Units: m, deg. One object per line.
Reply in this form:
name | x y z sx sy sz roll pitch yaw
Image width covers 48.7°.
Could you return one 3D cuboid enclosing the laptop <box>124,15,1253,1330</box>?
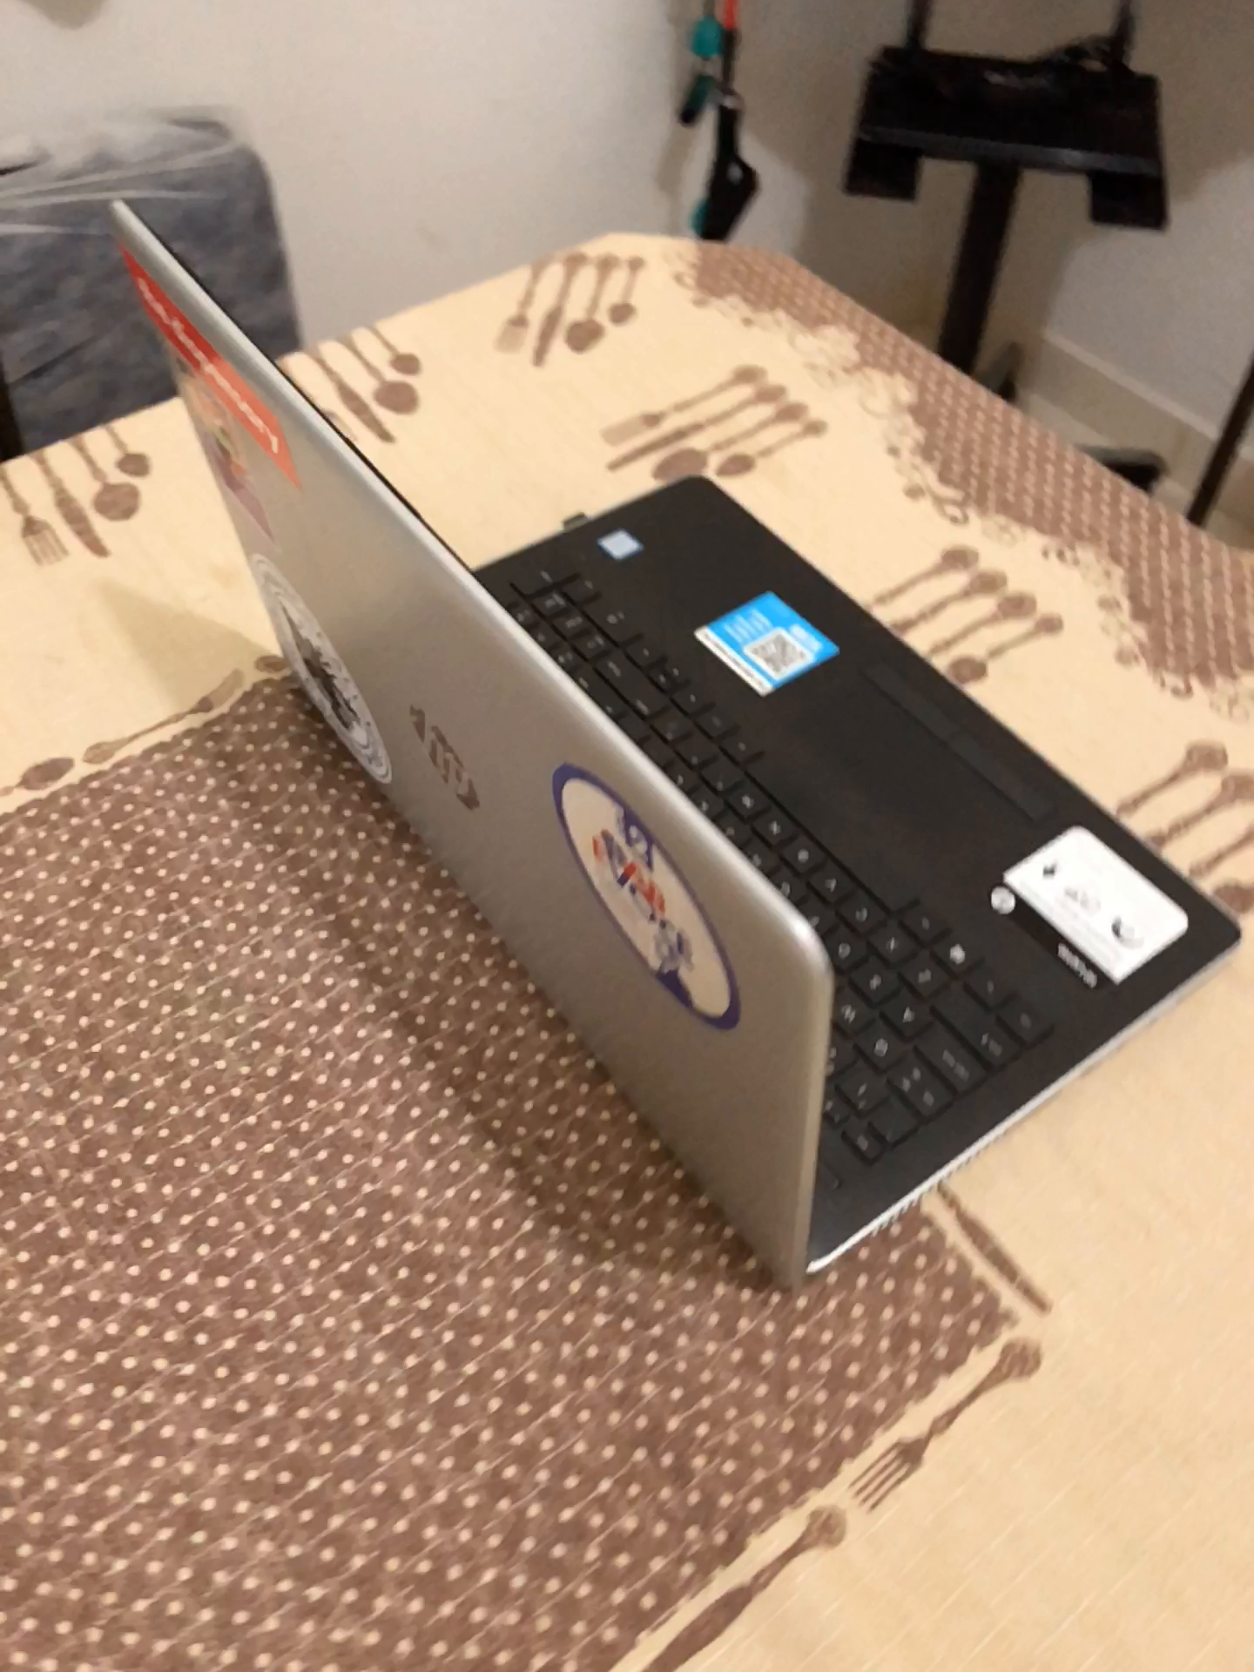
laptop | 0.042 -0.085 0.510 0.268 0.226 0.361 -30 58 -22
